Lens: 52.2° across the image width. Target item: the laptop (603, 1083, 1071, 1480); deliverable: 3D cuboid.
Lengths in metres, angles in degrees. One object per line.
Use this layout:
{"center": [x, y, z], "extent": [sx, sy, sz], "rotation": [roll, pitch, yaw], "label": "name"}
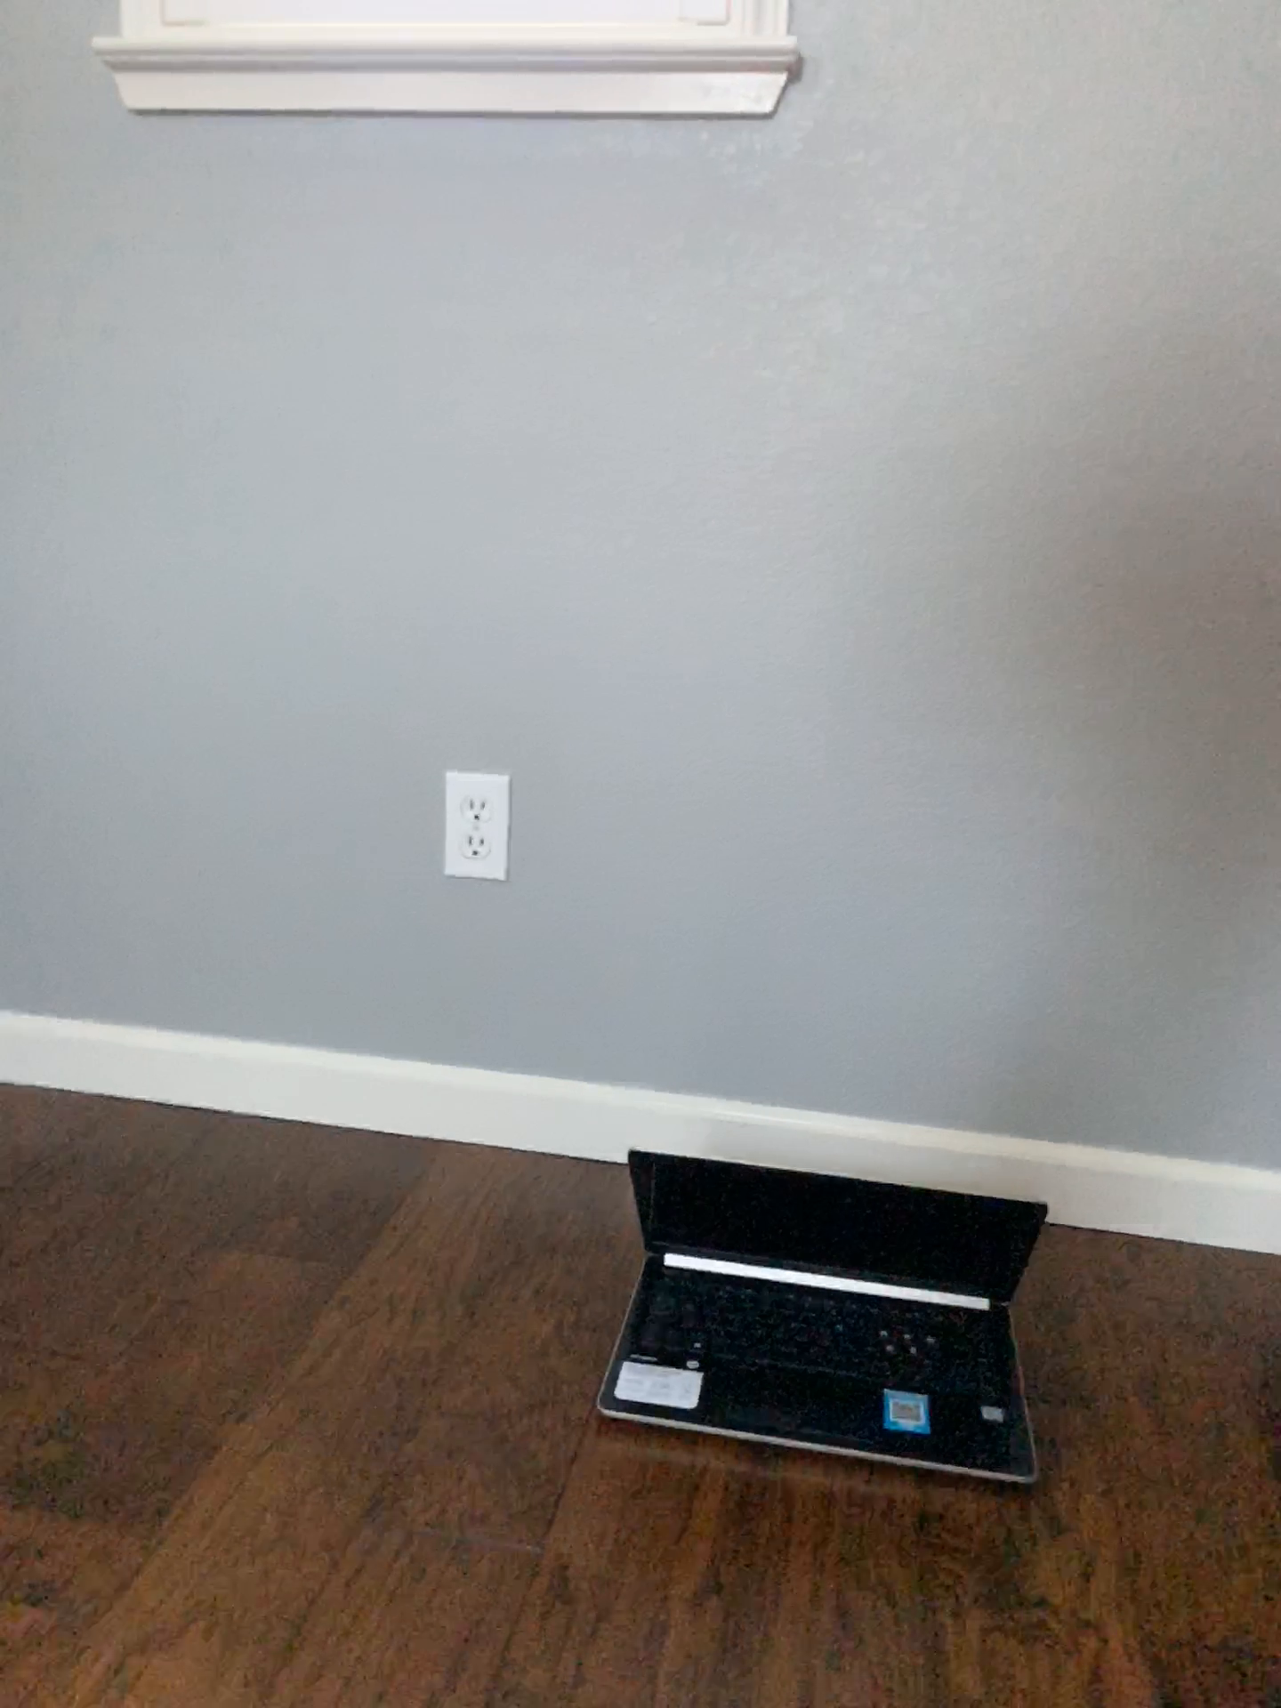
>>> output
{"center": [0.149, 0.322, 1.039], "extent": [0.317, 0.169, 0.220], "rotation": [5, 13, 8], "label": "laptop"}
